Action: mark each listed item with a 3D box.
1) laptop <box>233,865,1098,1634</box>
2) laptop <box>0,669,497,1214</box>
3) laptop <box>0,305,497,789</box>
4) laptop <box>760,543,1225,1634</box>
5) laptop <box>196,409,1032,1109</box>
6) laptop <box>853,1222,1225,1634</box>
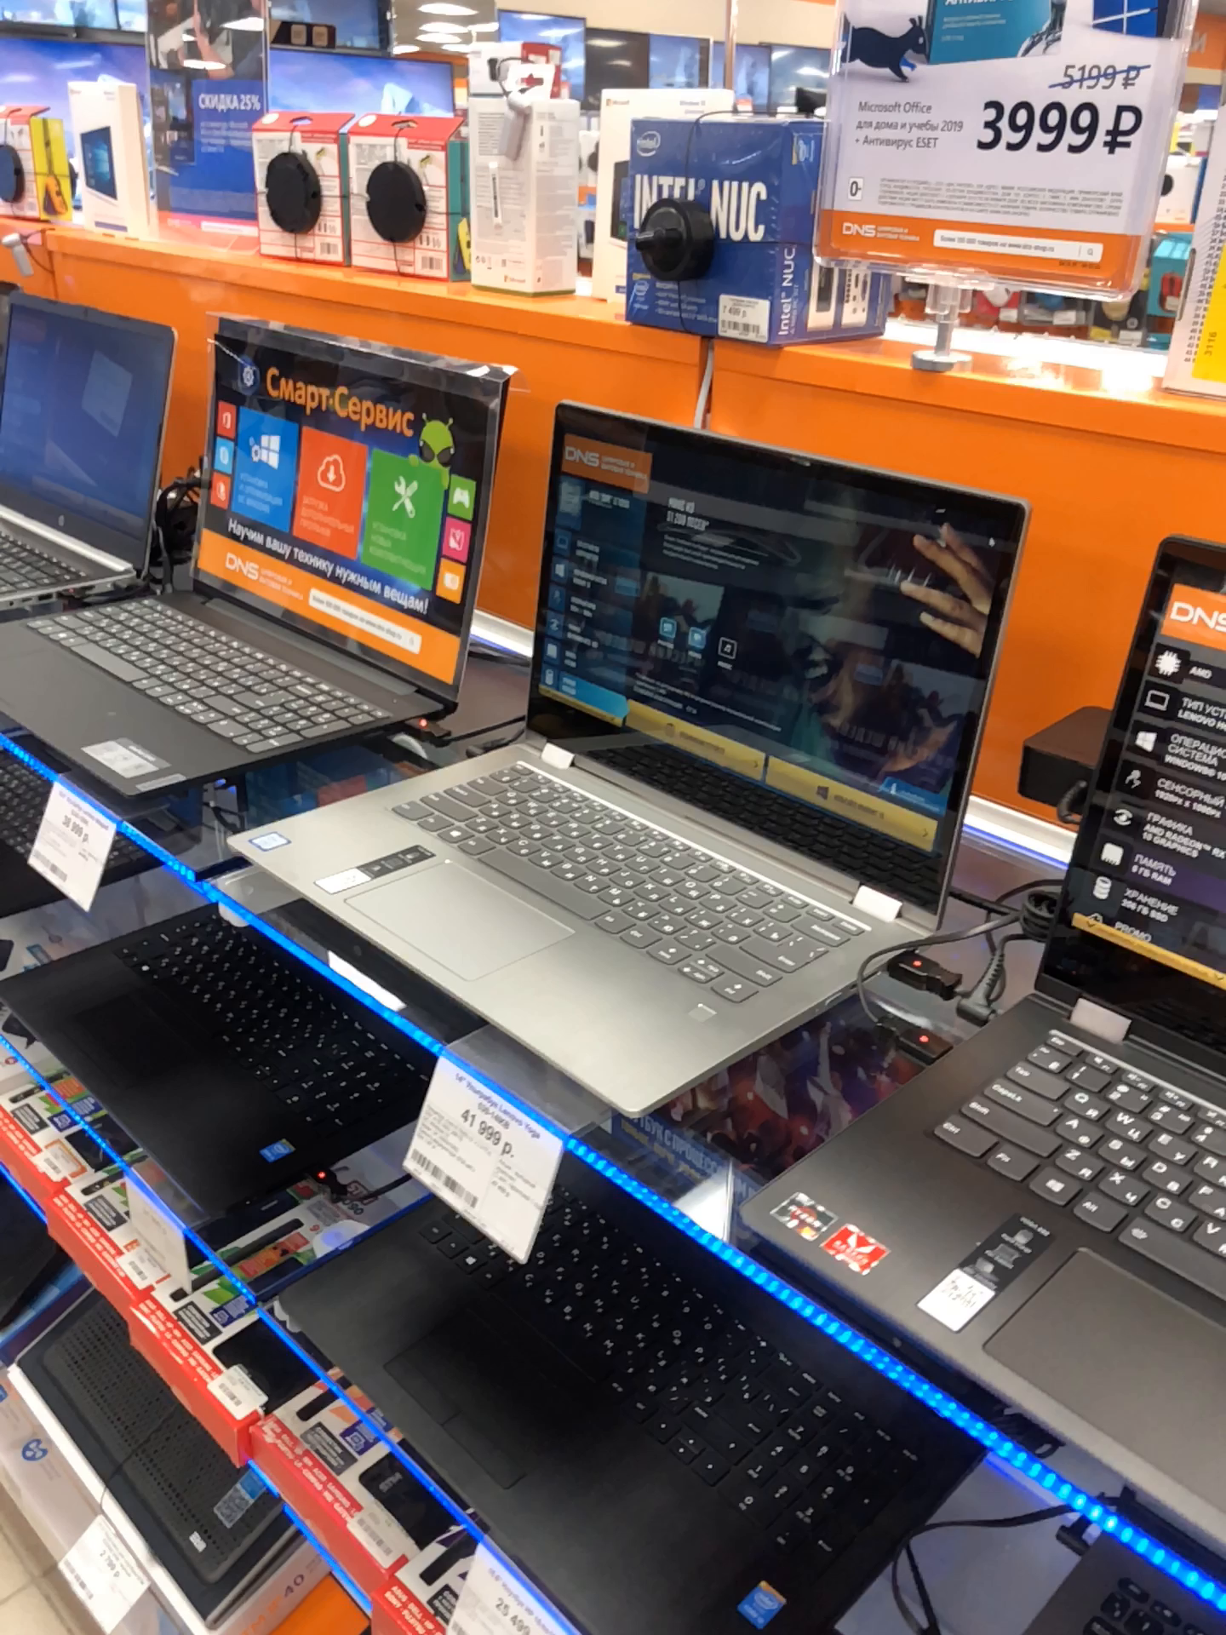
[{"bbox_3d":[0.014,0.220,0.758,0.263,0.207,0.368,-22,34,-40],"label":"laptop"},{"bbox_3d":[-0.304,0.067,1.061,0.239,0.235,0.379,-21,33,-39],"label":"laptop"},{"bbox_3d":[-0.291,-0.209,0.926,0.305,0.212,0.279,25,34,35],"label":"laptop"},{"bbox_3d":[0.241,0.061,0.434,0.248,0.209,0.290,-21,33,-39],"label":"laptop"},{"bbox_3d":[-0.012,-0.064,0.675,0.238,0.212,0.316,-21,34,-39],"label":"laptop"},{"bbox_3d":[0.296,0.357,0.490,0.237,0.213,0.309,-19,31,-38],"label":"laptop"}]
